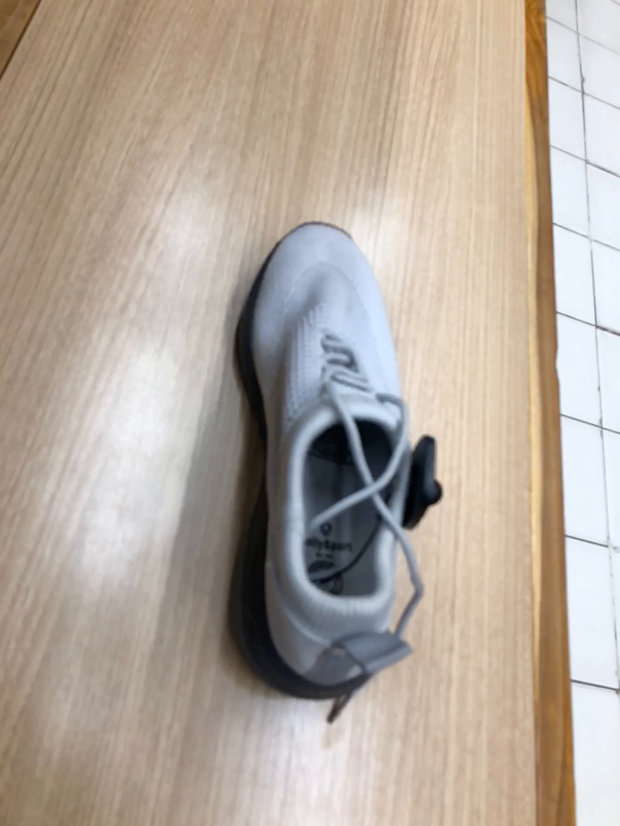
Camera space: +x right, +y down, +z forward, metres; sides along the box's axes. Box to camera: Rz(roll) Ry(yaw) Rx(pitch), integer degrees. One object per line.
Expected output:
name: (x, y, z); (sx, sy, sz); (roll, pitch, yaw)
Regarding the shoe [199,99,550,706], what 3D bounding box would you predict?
shoe: (0.023, 0.000, 0.340); (0.106, 0.122, 0.265); (11, 64, -17)
